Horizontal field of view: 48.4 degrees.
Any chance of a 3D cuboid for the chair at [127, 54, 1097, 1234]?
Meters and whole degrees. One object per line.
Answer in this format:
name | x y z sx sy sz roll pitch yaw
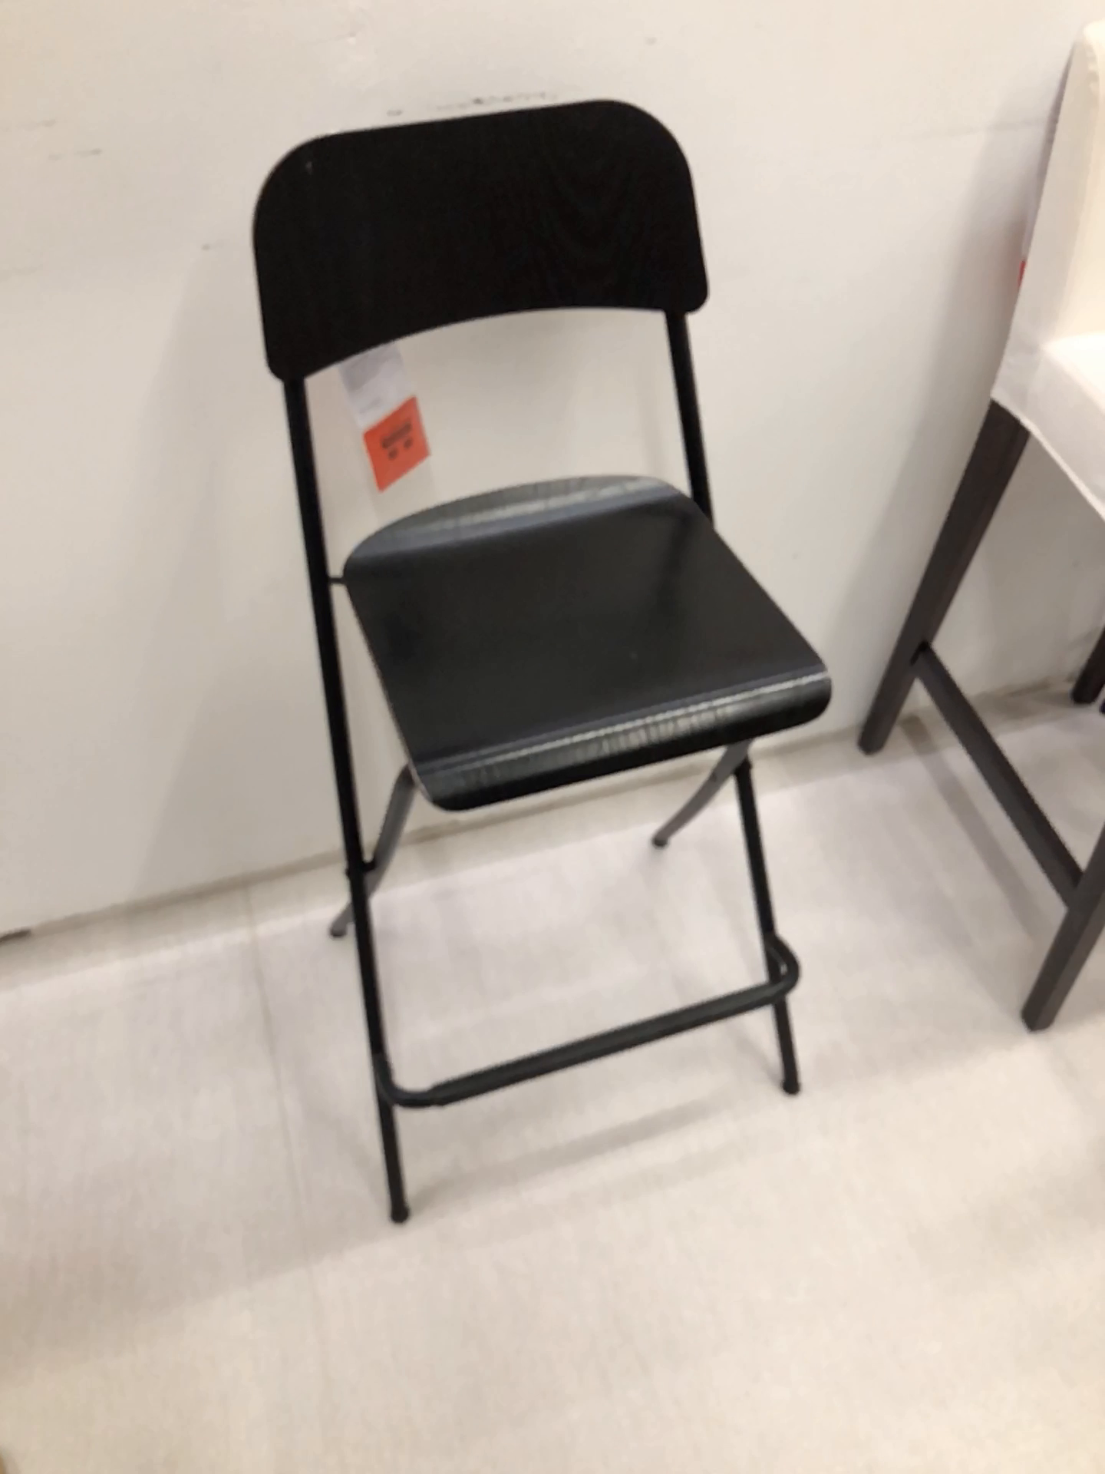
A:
chair | 0.004 -0.029 1.114 0.490 0.885 0.473 -14 48 -12
